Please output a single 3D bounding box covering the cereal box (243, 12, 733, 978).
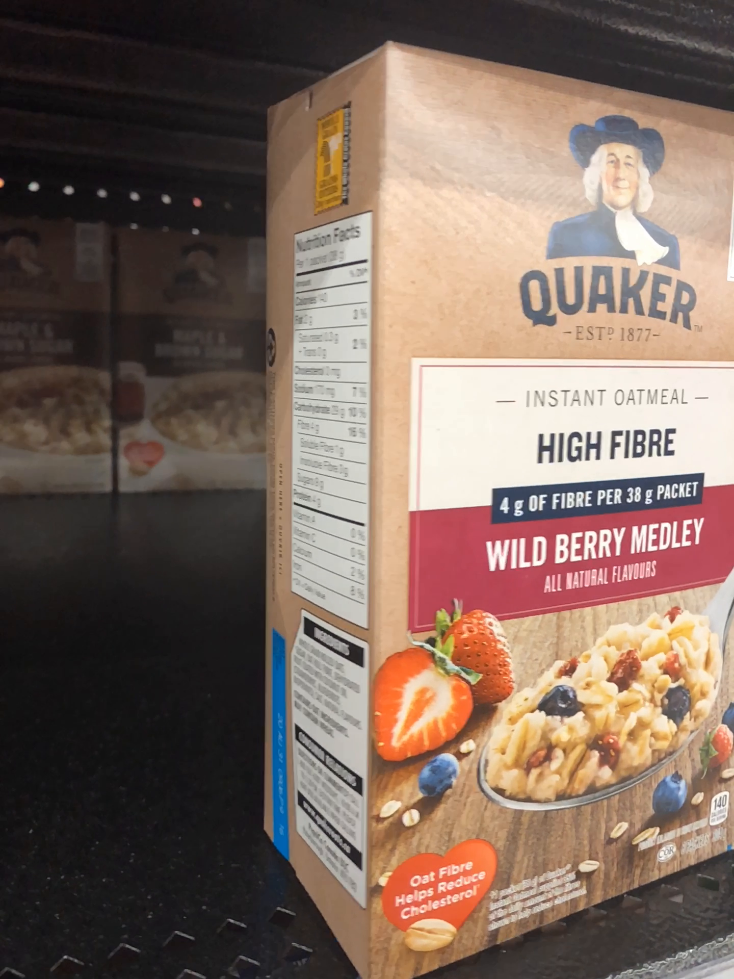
[{"bbox_3d":[0.041,0.007,0.219,0.130,0.200,0.070,-3,9,-29],"label":"cereal box"}]
